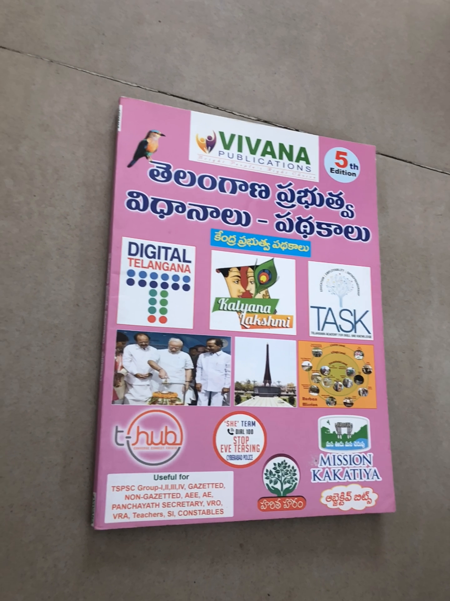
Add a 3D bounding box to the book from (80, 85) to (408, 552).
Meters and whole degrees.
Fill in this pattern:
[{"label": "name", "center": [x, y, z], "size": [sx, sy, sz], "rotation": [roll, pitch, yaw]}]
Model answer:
[{"label": "book", "center": [0.019, 0.010, 0.333], "size": [0.200, 0.040, 0.270], "rotation": [5, 78, -17]}]
